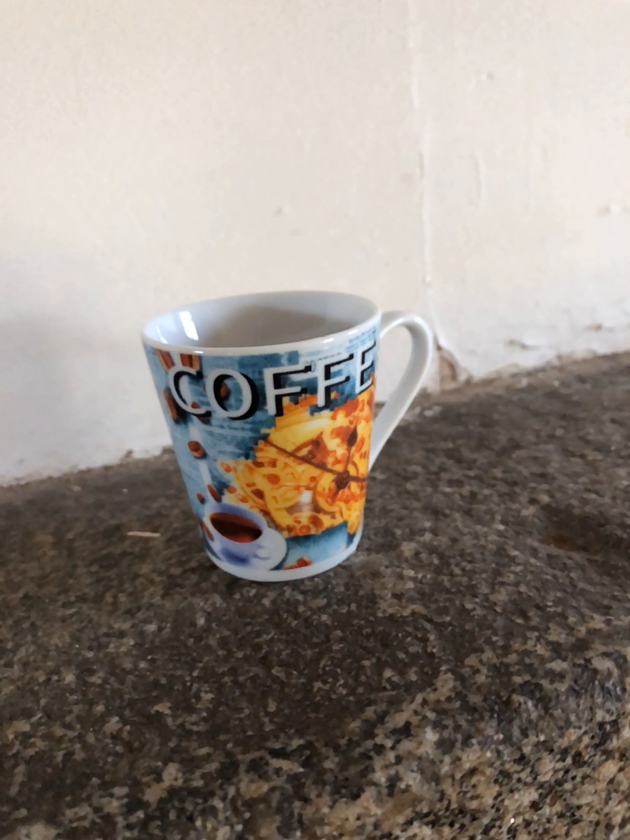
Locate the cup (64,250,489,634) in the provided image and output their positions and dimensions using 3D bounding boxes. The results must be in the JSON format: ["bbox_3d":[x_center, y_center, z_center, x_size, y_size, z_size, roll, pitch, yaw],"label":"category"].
[{"bbox_3d":[-0.007,-0.004,0.179,0.080,0.060,0.060,-21,26,-32],"label":"cup"}]
